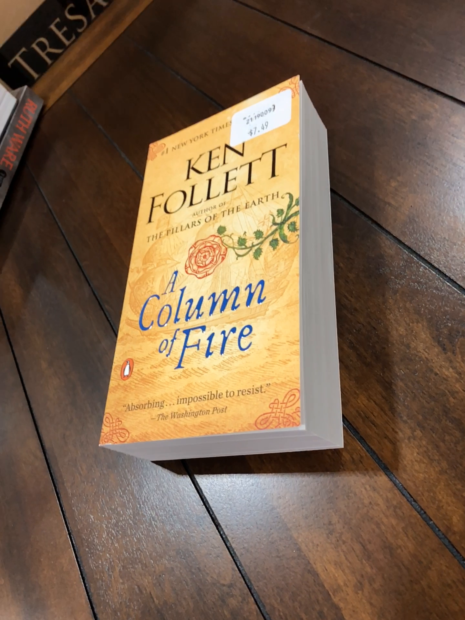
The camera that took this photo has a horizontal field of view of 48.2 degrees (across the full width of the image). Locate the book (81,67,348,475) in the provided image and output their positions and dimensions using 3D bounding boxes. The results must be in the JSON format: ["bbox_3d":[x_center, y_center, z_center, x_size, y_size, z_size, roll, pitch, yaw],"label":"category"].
[{"bbox_3d":[-0.005,-0.022,0.267,0.110,0.040,0.195,-12,59,28],"label":"book"}]
